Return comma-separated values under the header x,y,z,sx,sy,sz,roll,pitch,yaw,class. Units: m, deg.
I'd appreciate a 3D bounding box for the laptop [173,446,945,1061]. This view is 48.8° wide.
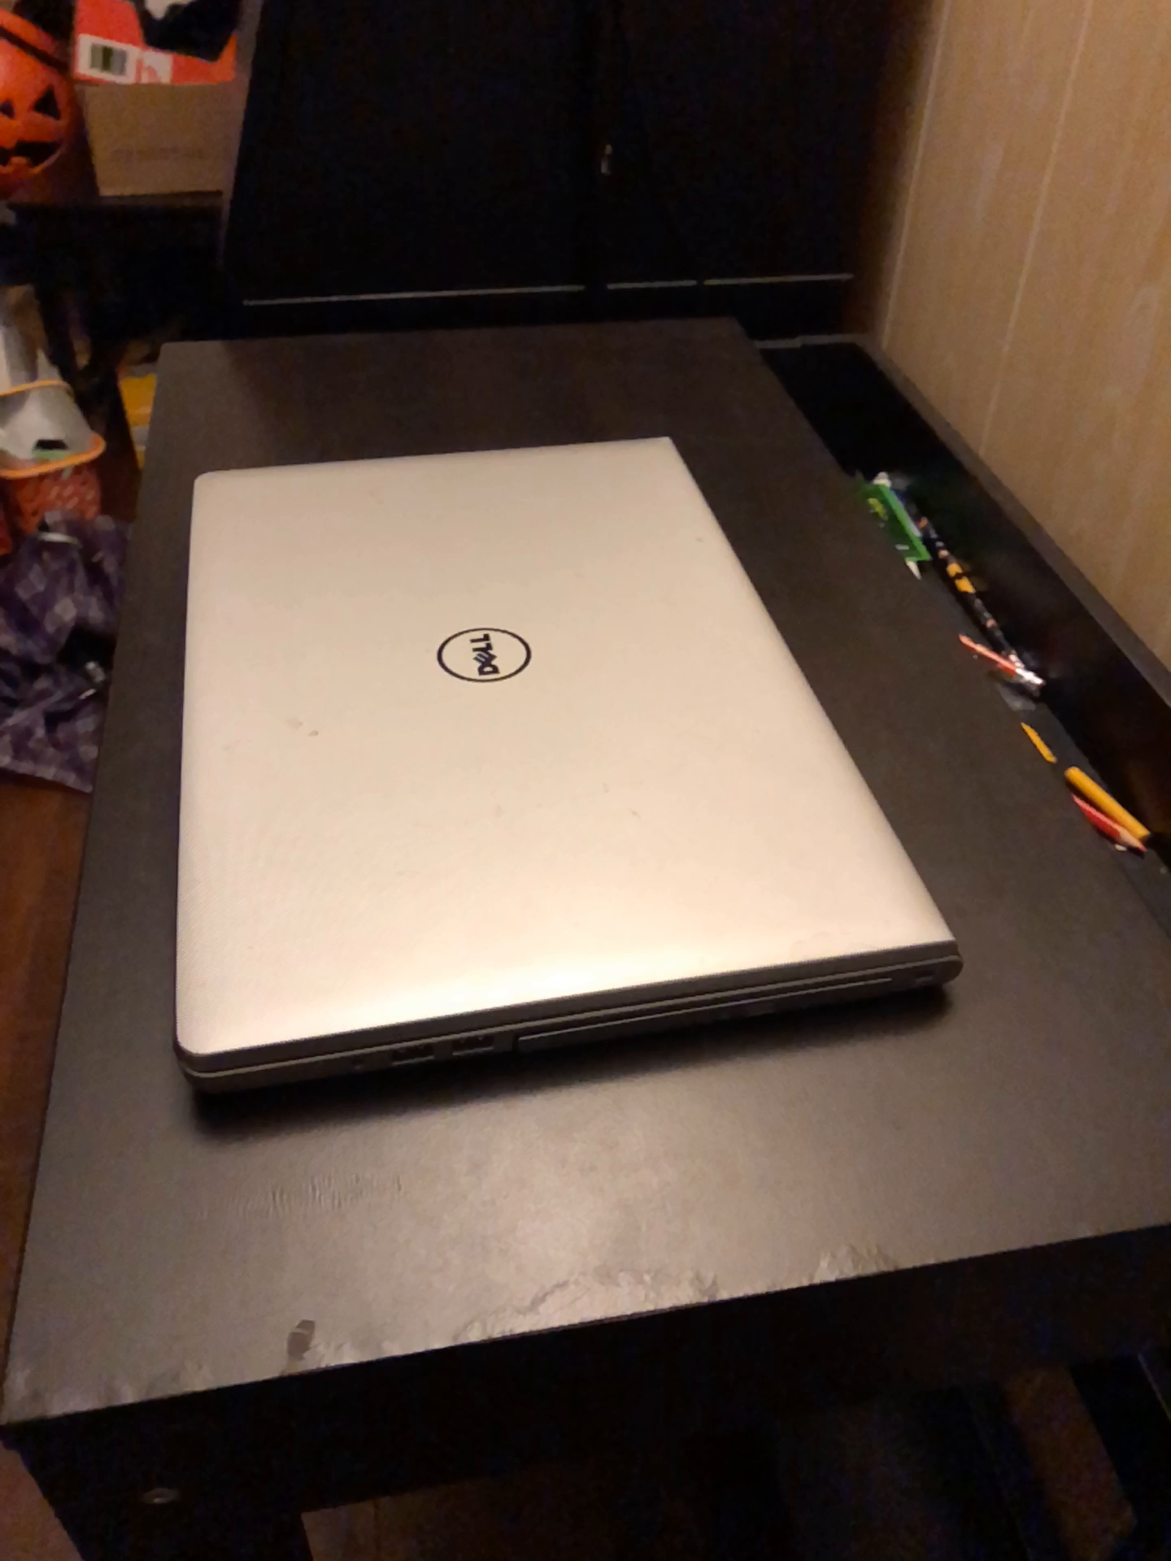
x,y,z,sx,sy,sz,roll,pitch,yaw,class
-0.039,-0.049,0.549,0.249,0.003,0.373,-7,41,-9,laptop
